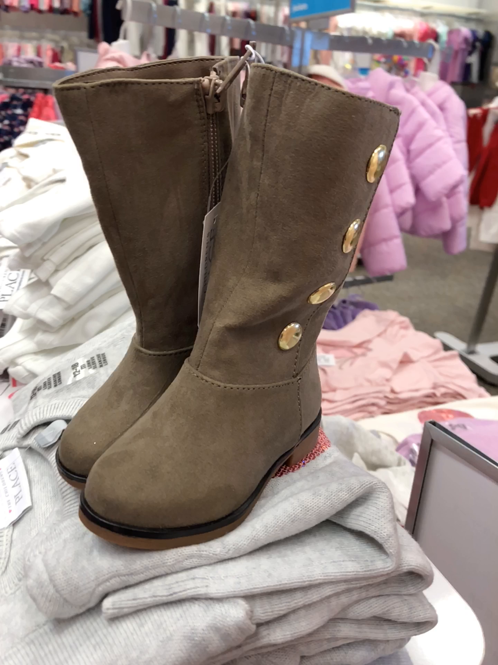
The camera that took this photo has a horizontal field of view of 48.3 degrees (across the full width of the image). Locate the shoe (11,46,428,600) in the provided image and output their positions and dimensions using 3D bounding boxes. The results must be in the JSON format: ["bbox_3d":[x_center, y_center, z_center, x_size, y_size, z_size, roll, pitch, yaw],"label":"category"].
[{"bbox_3d":[-0.006,-0.015,0.242,0.070,0.184,0.148,23,30,37],"label":"shoe"}]

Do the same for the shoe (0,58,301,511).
[{"bbox_3d":[-0.052,-0.034,0.274,0.070,0.164,0.155,24,41,38],"label":"shoe"}]
